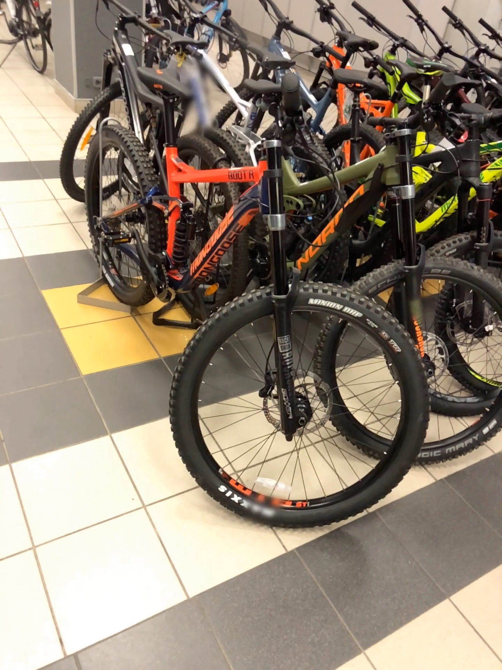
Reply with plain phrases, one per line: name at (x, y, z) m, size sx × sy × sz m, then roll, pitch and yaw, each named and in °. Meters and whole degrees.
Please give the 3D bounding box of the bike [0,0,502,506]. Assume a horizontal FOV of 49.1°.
bike at (-0.042, -0.456, 1.843) m, size 0.803 × 1.109 × 1.701 m, roll -21°, pitch 43°, yaw -38°
